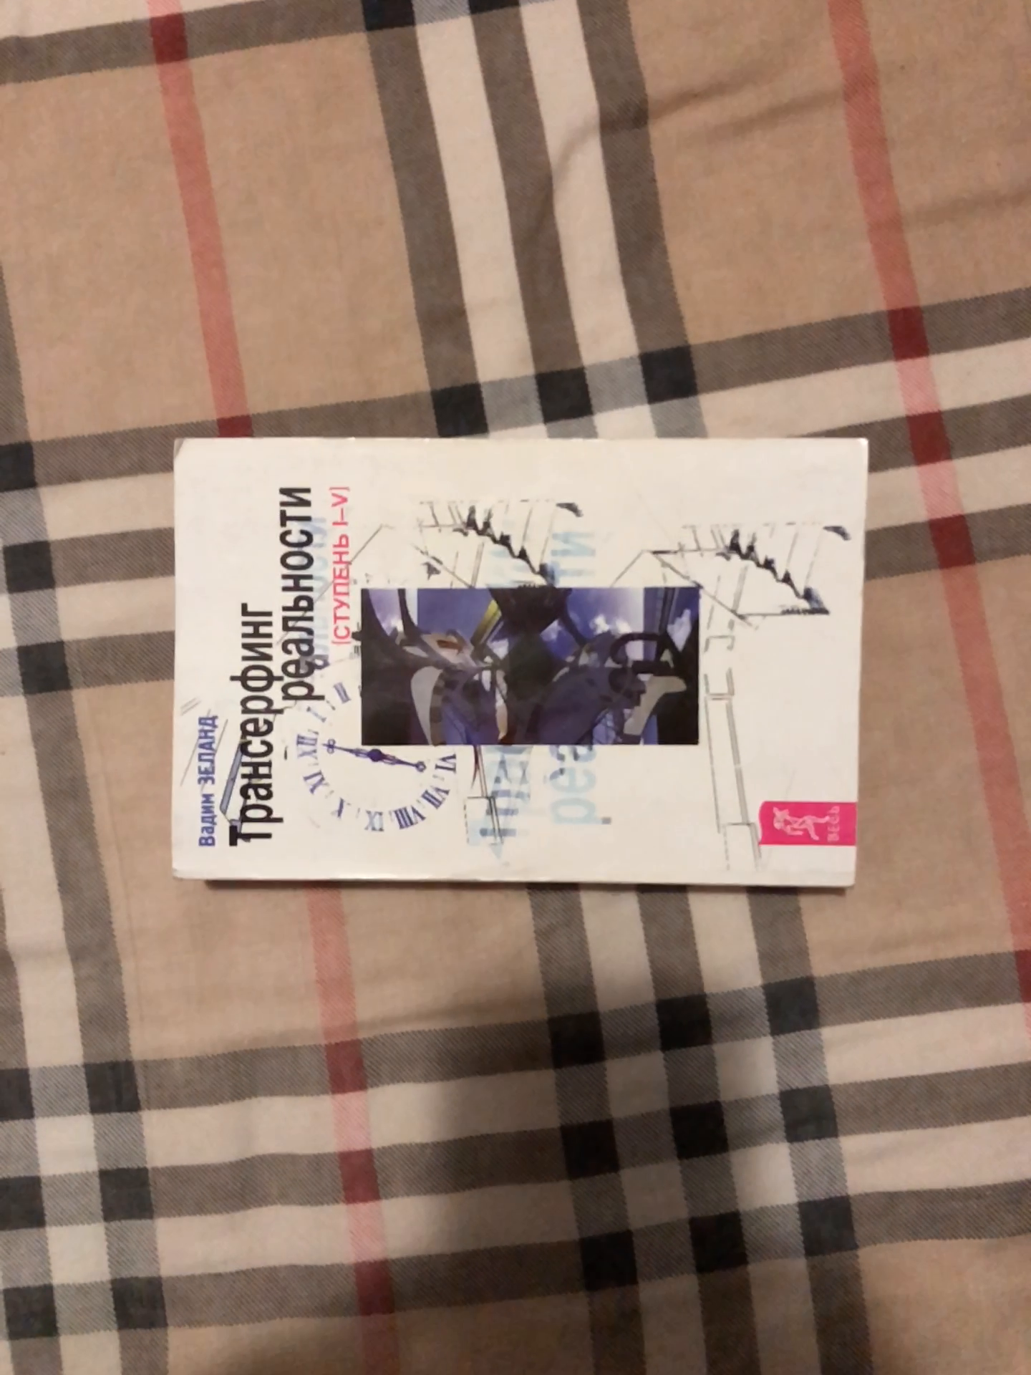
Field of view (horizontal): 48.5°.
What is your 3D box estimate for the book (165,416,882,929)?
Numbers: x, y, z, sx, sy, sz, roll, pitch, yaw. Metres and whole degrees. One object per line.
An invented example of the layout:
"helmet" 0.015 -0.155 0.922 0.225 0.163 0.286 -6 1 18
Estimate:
"book" 0.001 -0.004 0.345 0.202 0.038 0.143 -1 87 0
